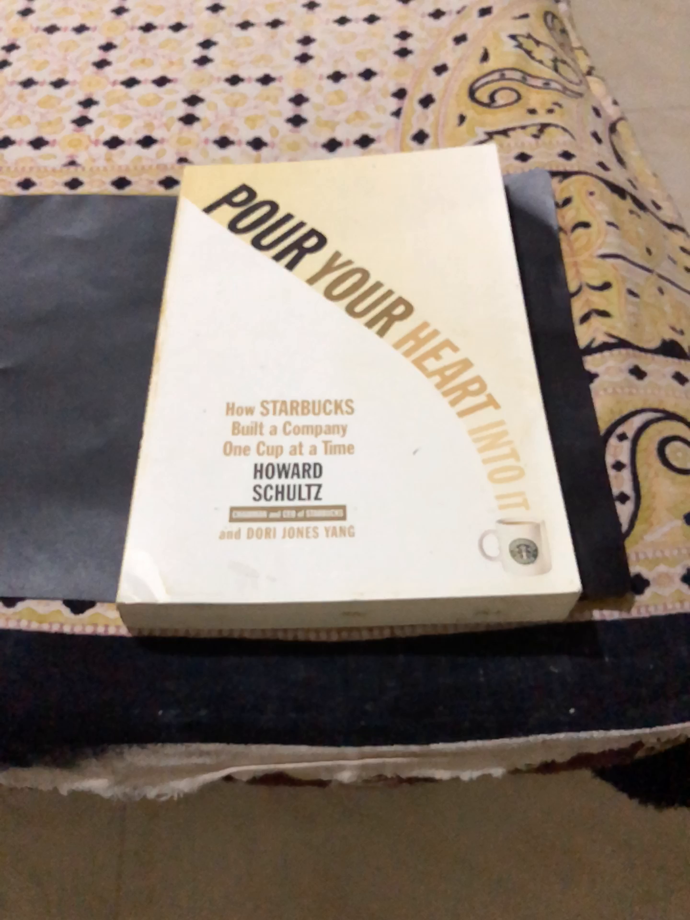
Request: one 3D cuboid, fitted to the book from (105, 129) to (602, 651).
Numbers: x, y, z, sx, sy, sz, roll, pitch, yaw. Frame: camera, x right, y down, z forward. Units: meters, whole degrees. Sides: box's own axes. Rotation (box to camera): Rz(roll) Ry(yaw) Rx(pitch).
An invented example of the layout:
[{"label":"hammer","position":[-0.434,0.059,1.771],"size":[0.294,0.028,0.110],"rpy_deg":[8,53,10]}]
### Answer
[{"label":"book","position":[0.001,-0.044,0.336],"size":[0.160,0.050,0.240],"rpy_deg":[-1,58,0]}]
